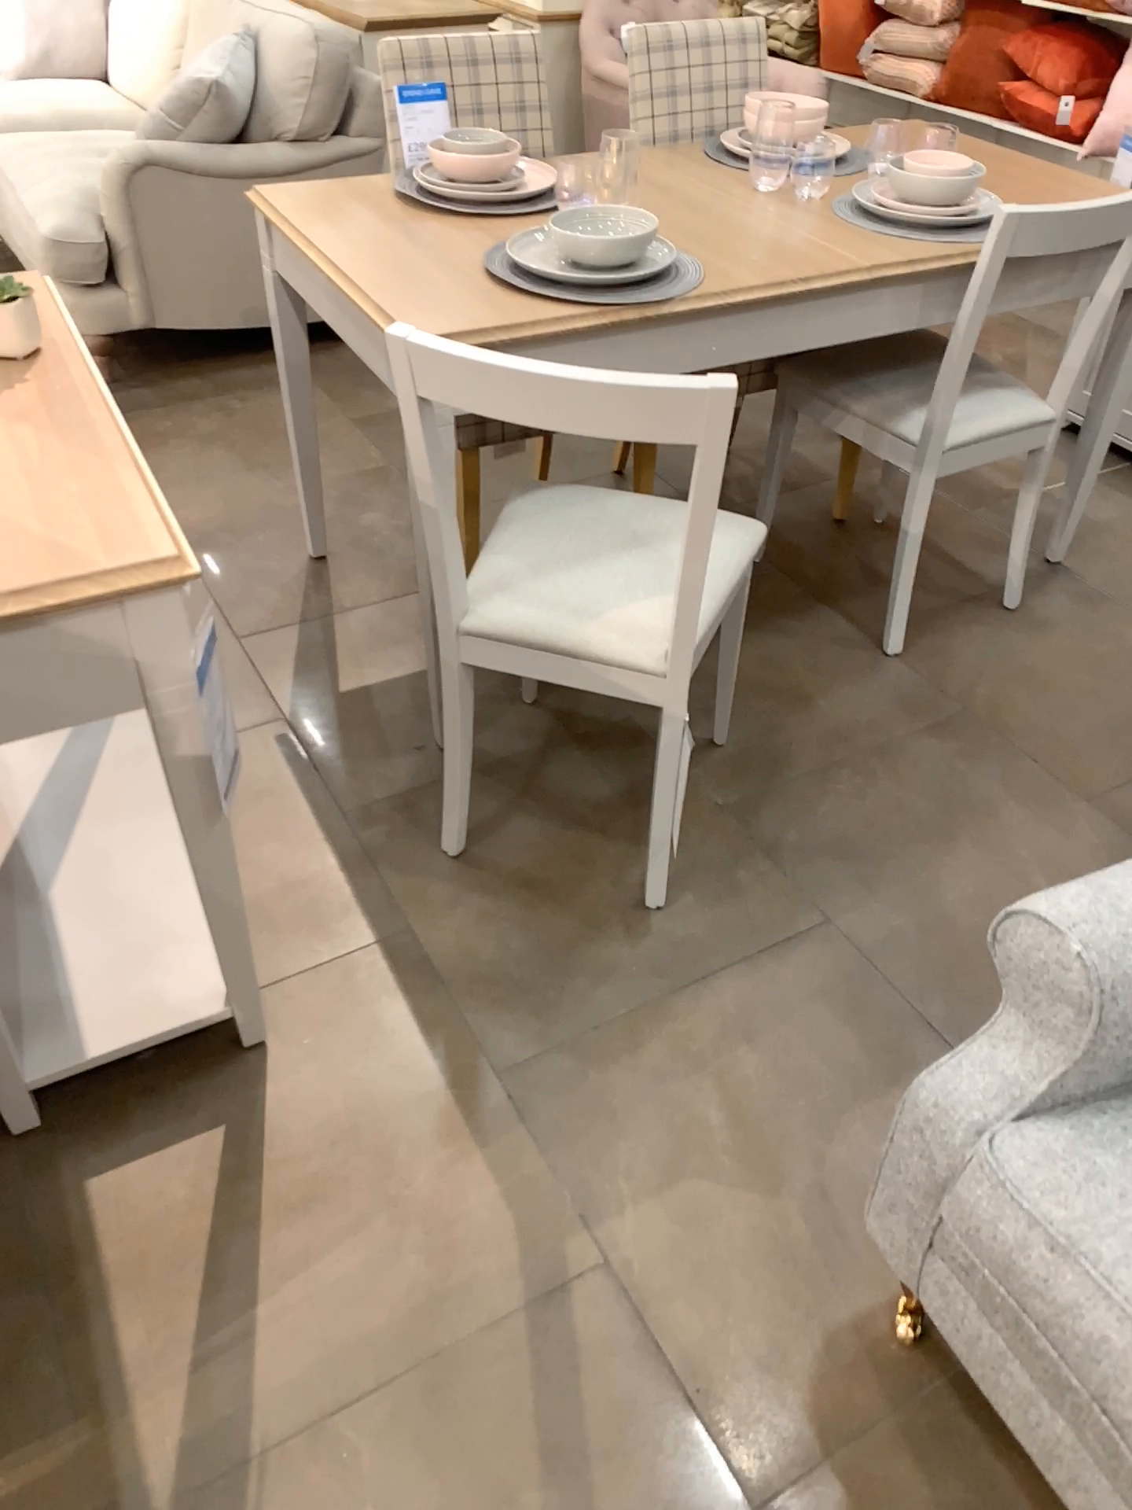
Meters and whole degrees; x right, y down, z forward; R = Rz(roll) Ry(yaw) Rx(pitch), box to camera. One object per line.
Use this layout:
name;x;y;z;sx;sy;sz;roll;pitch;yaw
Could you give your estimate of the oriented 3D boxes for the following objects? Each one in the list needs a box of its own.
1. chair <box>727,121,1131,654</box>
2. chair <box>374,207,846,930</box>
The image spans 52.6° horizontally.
chair;0.704;-0.735;2.288;0.431;0.817;0.538;-20;45;-24
chair;0.074;-0.269;1.676;0.460;0.817;0.539;12;41;12
